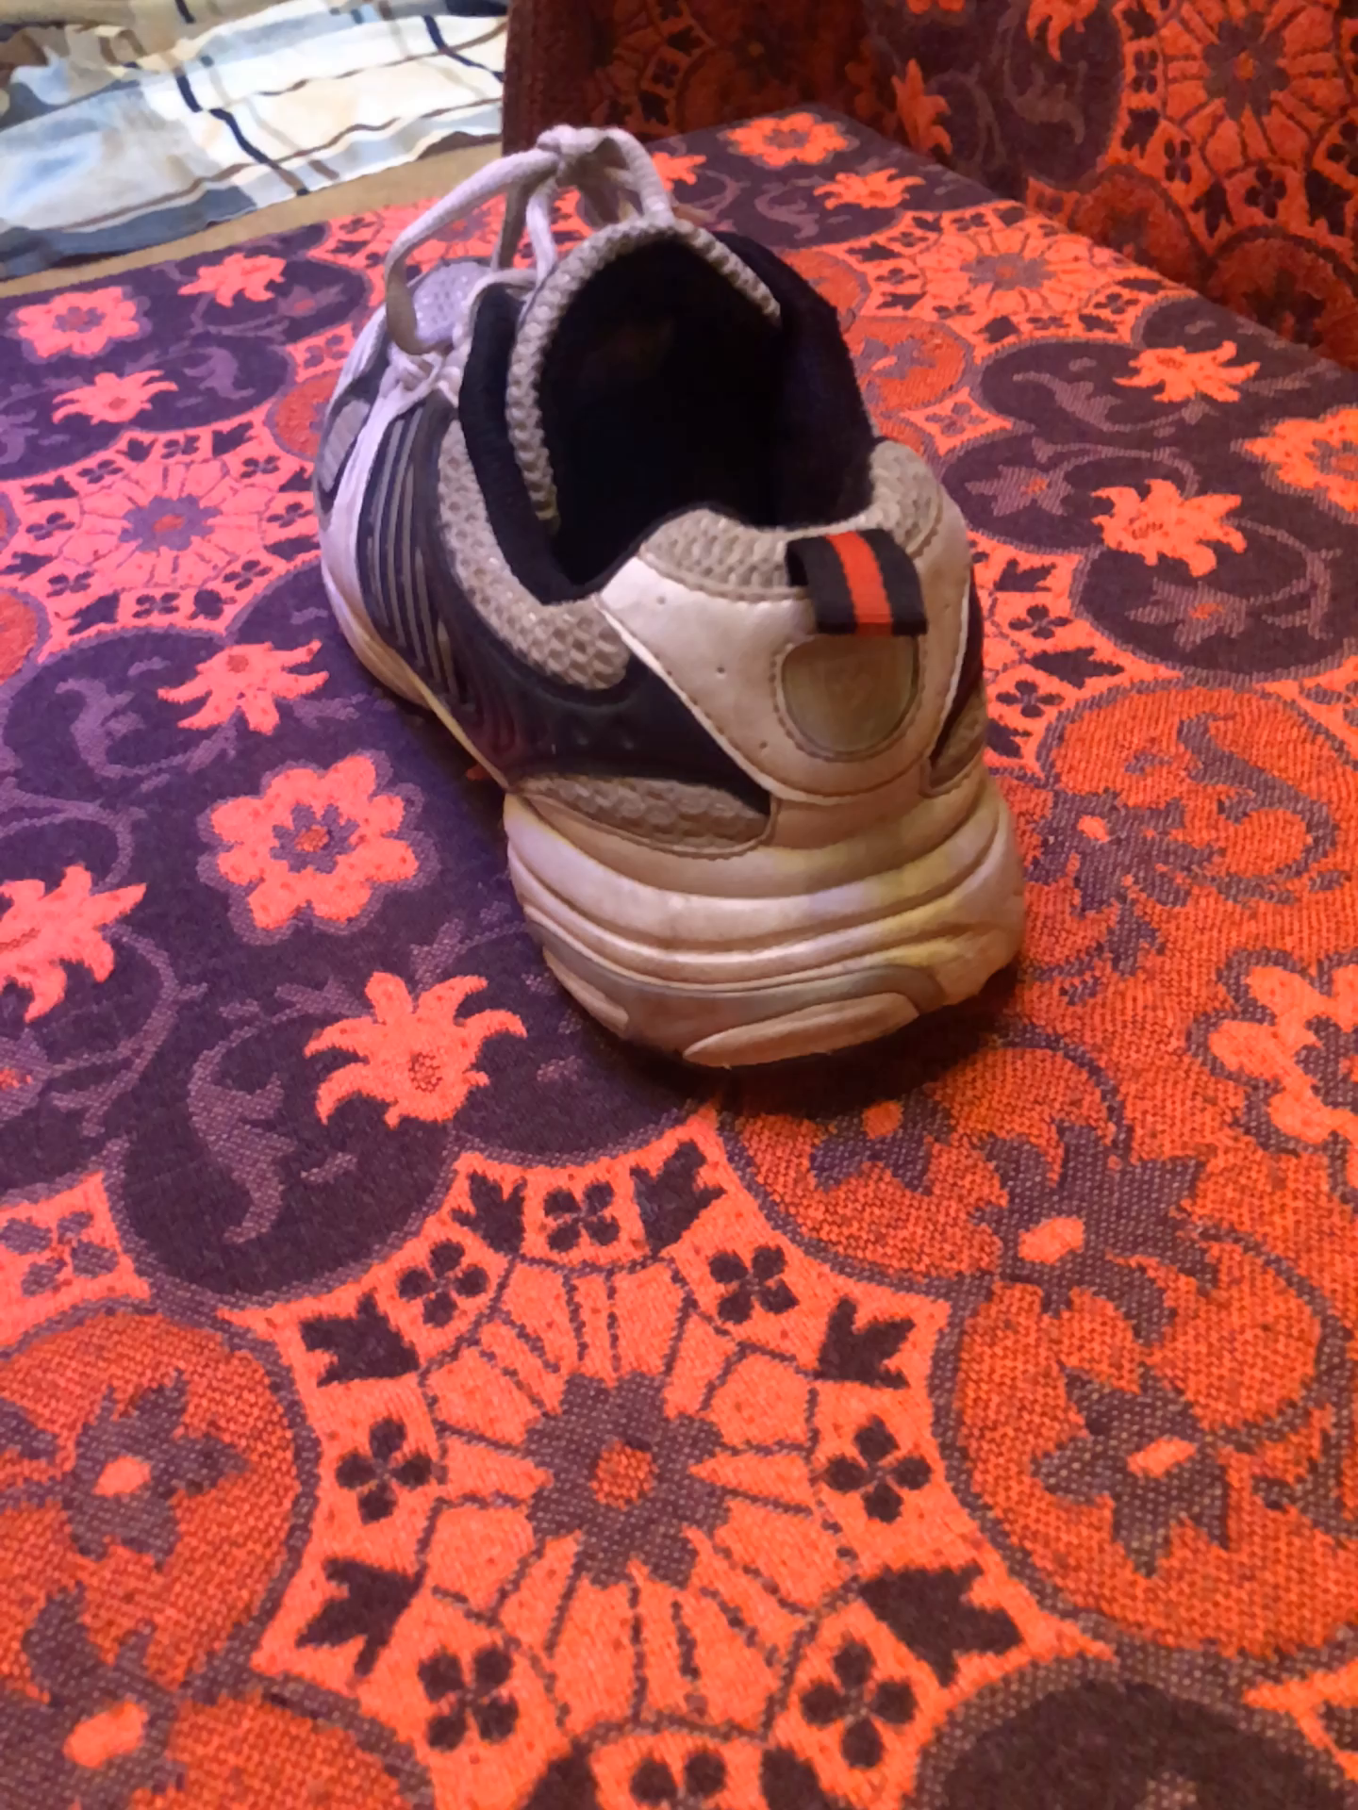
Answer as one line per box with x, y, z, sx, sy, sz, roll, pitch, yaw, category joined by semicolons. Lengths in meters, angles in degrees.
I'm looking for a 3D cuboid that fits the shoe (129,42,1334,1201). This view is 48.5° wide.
-0.022;-0.098;0.337;0.120;0.090;0.311;-20;45;-15;shoe
